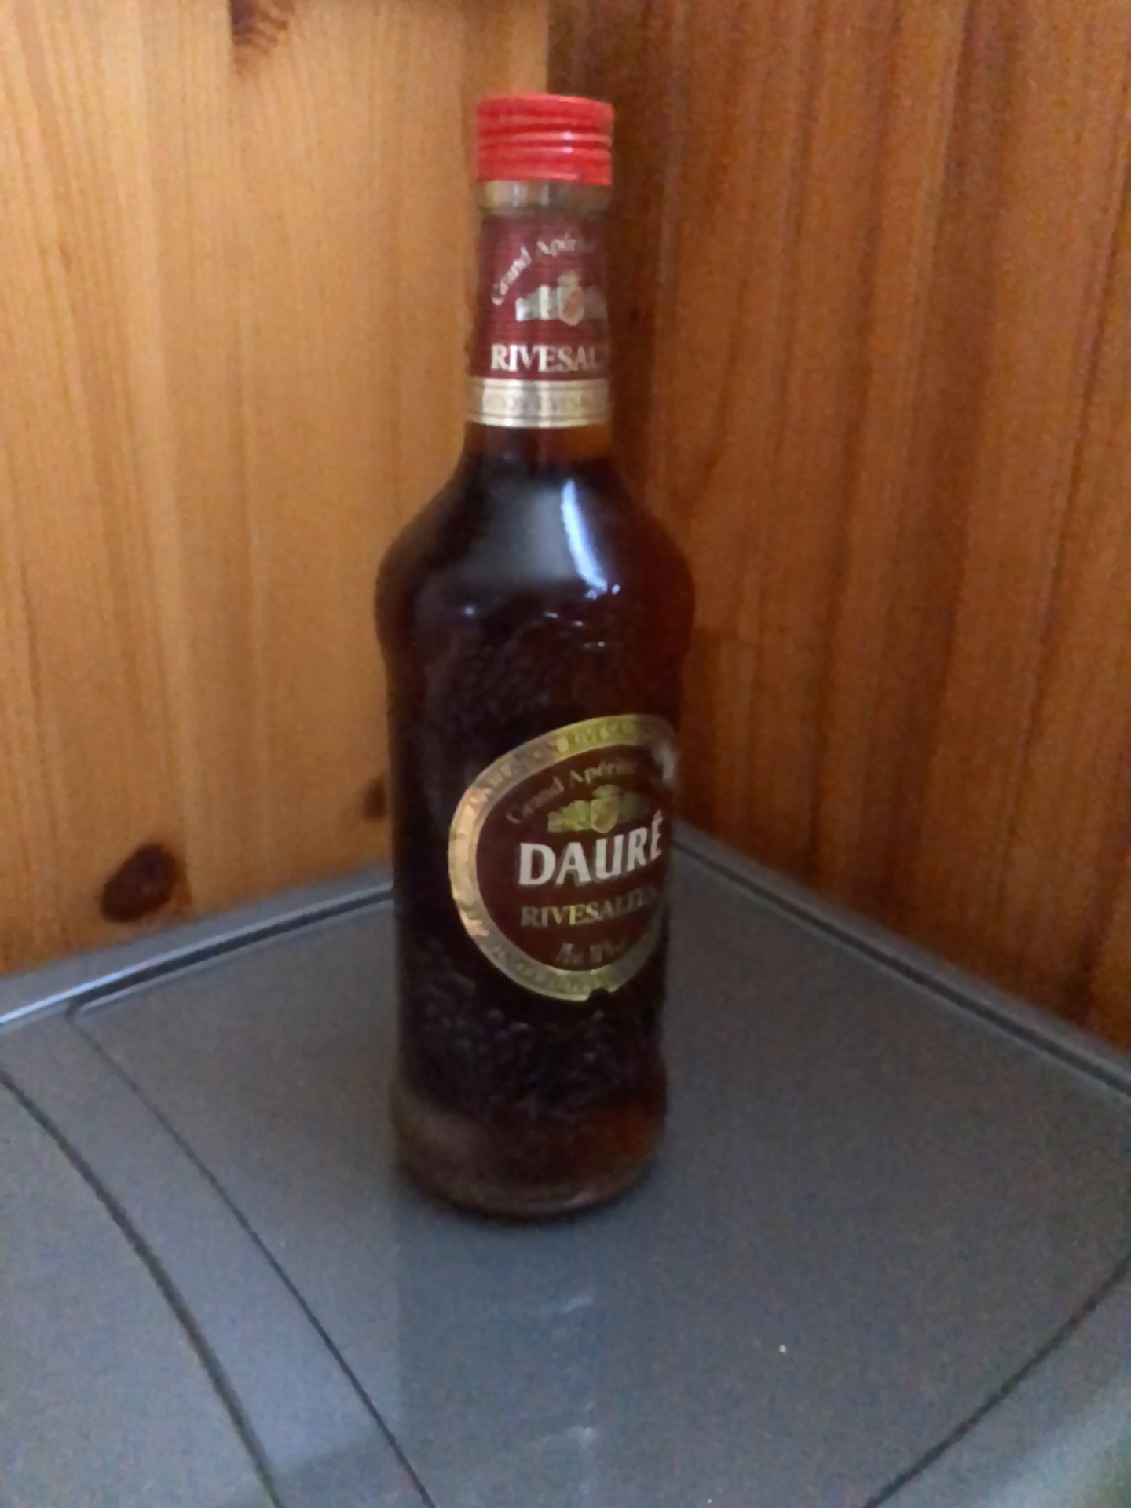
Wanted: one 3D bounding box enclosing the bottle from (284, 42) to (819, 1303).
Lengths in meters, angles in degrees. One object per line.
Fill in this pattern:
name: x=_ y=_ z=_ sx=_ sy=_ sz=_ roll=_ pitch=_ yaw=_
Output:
bottle: x=-0.010 y=-0.014 z=0.344 sx=0.090 sy=0.299 sz=0.090 roll=1 pitch=21 yaw=-1
